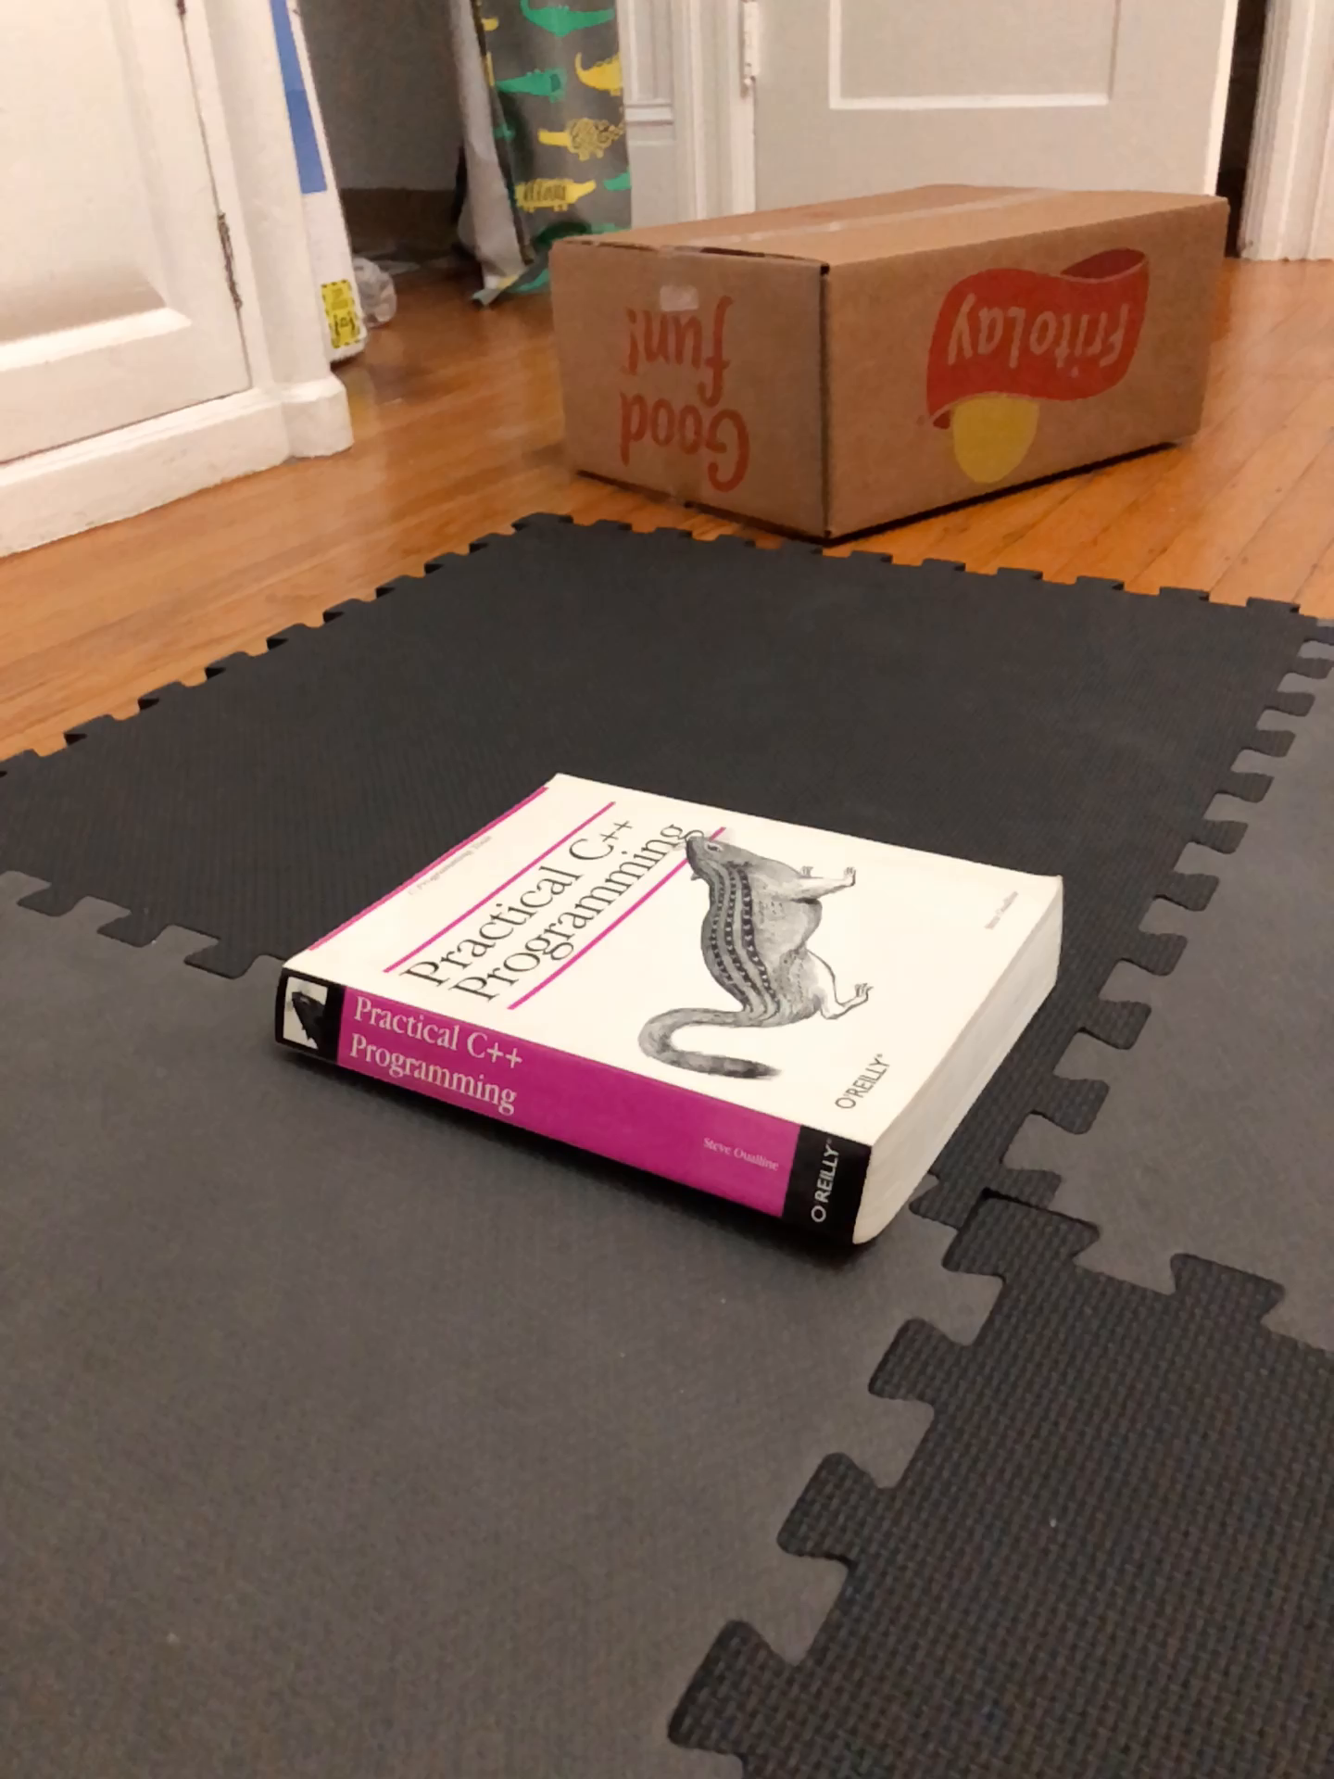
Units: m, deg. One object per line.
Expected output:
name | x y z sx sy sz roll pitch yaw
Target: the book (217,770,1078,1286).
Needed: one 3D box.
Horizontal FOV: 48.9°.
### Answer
book | 0.000 0.030 0.549 0.250 0.050 0.201 13 27 26
